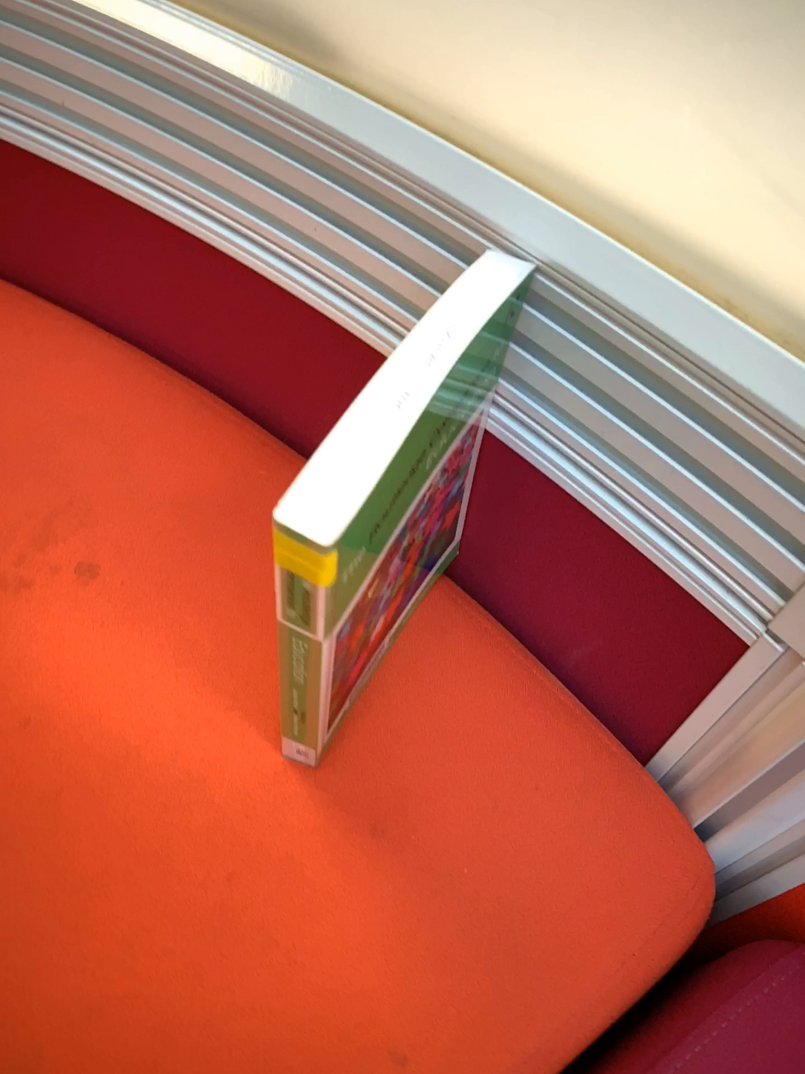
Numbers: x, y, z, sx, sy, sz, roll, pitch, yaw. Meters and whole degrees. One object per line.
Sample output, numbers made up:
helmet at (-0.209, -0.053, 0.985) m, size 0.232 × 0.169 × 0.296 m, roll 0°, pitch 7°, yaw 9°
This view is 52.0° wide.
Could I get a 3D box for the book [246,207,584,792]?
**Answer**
book at (0.001, 0.000, 0.436) m, size 0.040 × 0.268 × 0.201 m, roll 29°, pitch 58°, yaw 11°
